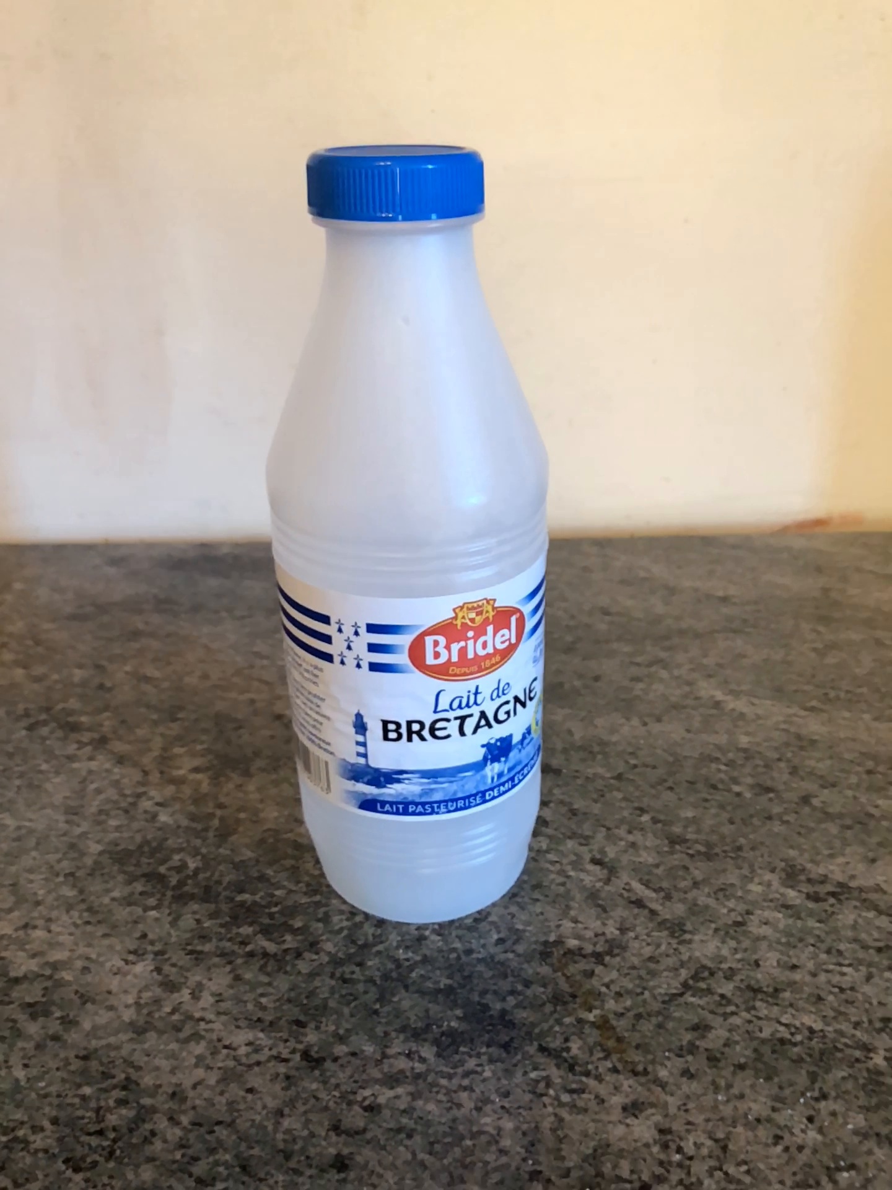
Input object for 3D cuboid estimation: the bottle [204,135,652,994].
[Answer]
[{"bbox_3d":[-0.008,-0.010,0.309,0.090,0.239,0.090,-1,26,0],"label":"bottle"}]
